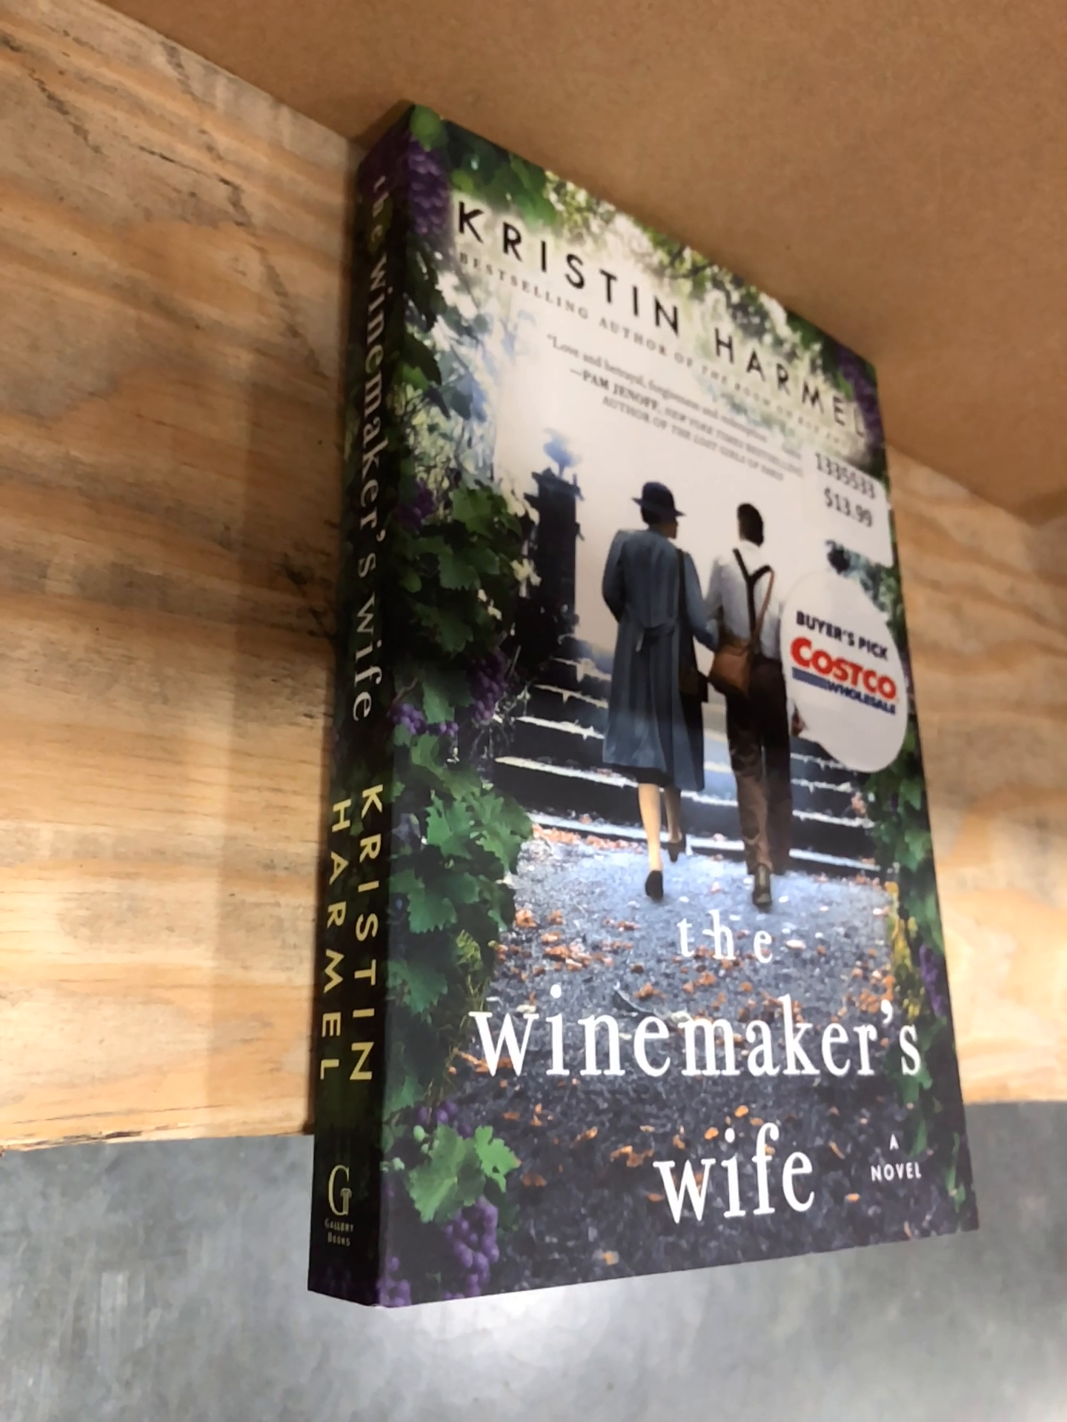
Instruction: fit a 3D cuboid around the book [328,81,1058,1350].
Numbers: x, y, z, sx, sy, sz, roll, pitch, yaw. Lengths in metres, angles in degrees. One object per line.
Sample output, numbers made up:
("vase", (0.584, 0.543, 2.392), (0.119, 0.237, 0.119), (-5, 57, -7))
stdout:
("book", (0.035, -0.001, 0.262), (0.155, 0.035, 0.229), (13, 64, -36))
